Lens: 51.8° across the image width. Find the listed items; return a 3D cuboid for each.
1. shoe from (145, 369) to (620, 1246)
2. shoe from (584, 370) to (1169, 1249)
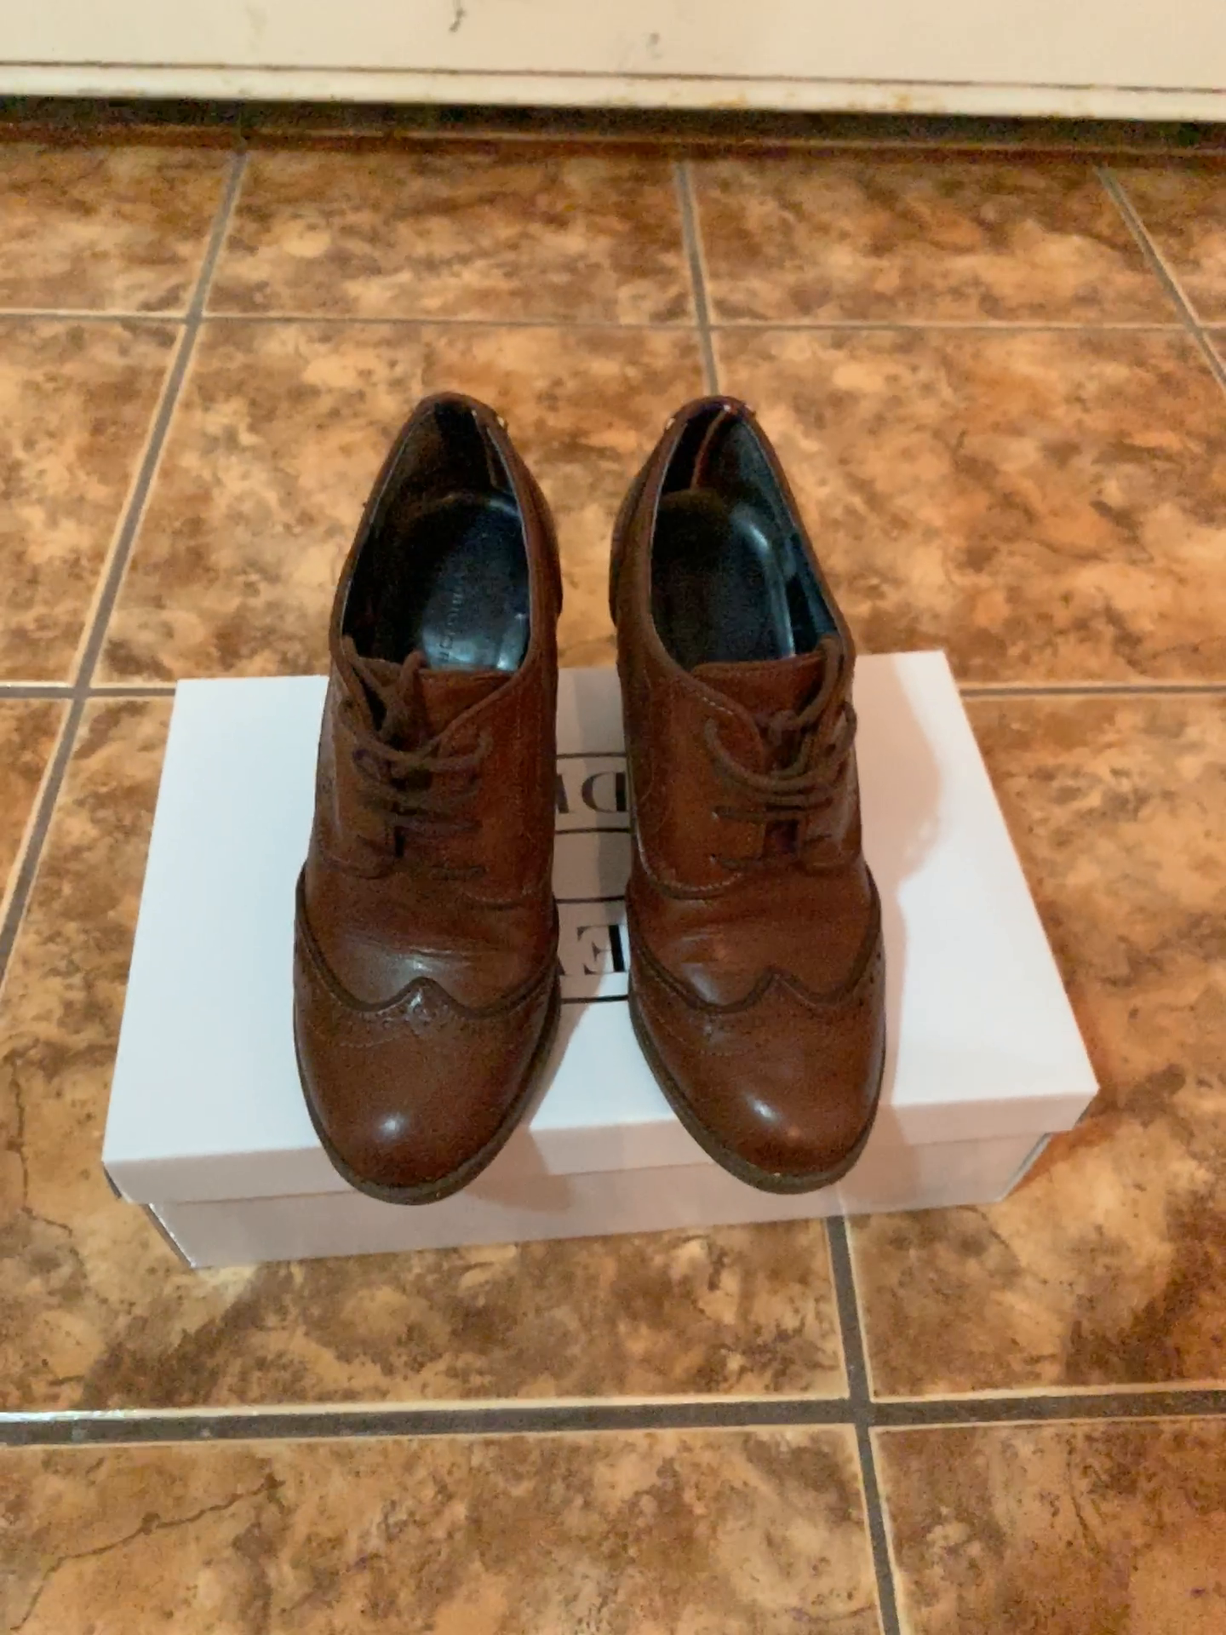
[{"bbox_3d":[-0.049,-0.010,0.381,0.095,0.137,0.229,1,50,-2],"label":"shoe"},{"bbox_3d":[0.053,-0.011,0.386,0.095,0.137,0.229,-4,51,-6],"label":"shoe"}]
